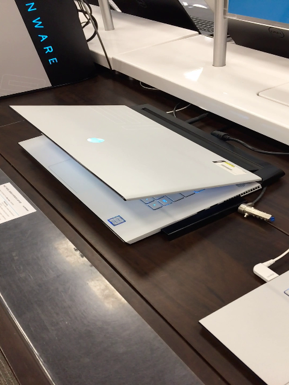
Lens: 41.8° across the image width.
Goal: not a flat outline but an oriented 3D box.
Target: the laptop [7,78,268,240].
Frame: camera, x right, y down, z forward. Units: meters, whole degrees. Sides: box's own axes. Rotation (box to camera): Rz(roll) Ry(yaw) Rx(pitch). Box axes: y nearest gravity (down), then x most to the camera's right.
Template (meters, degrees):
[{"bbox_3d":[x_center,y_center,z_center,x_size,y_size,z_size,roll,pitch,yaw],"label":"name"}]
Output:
[{"bbox_3d":[-0.031,-0.080,0.617,0.232,0.085,0.333,-25,42,-24],"label":"laptop"}]
